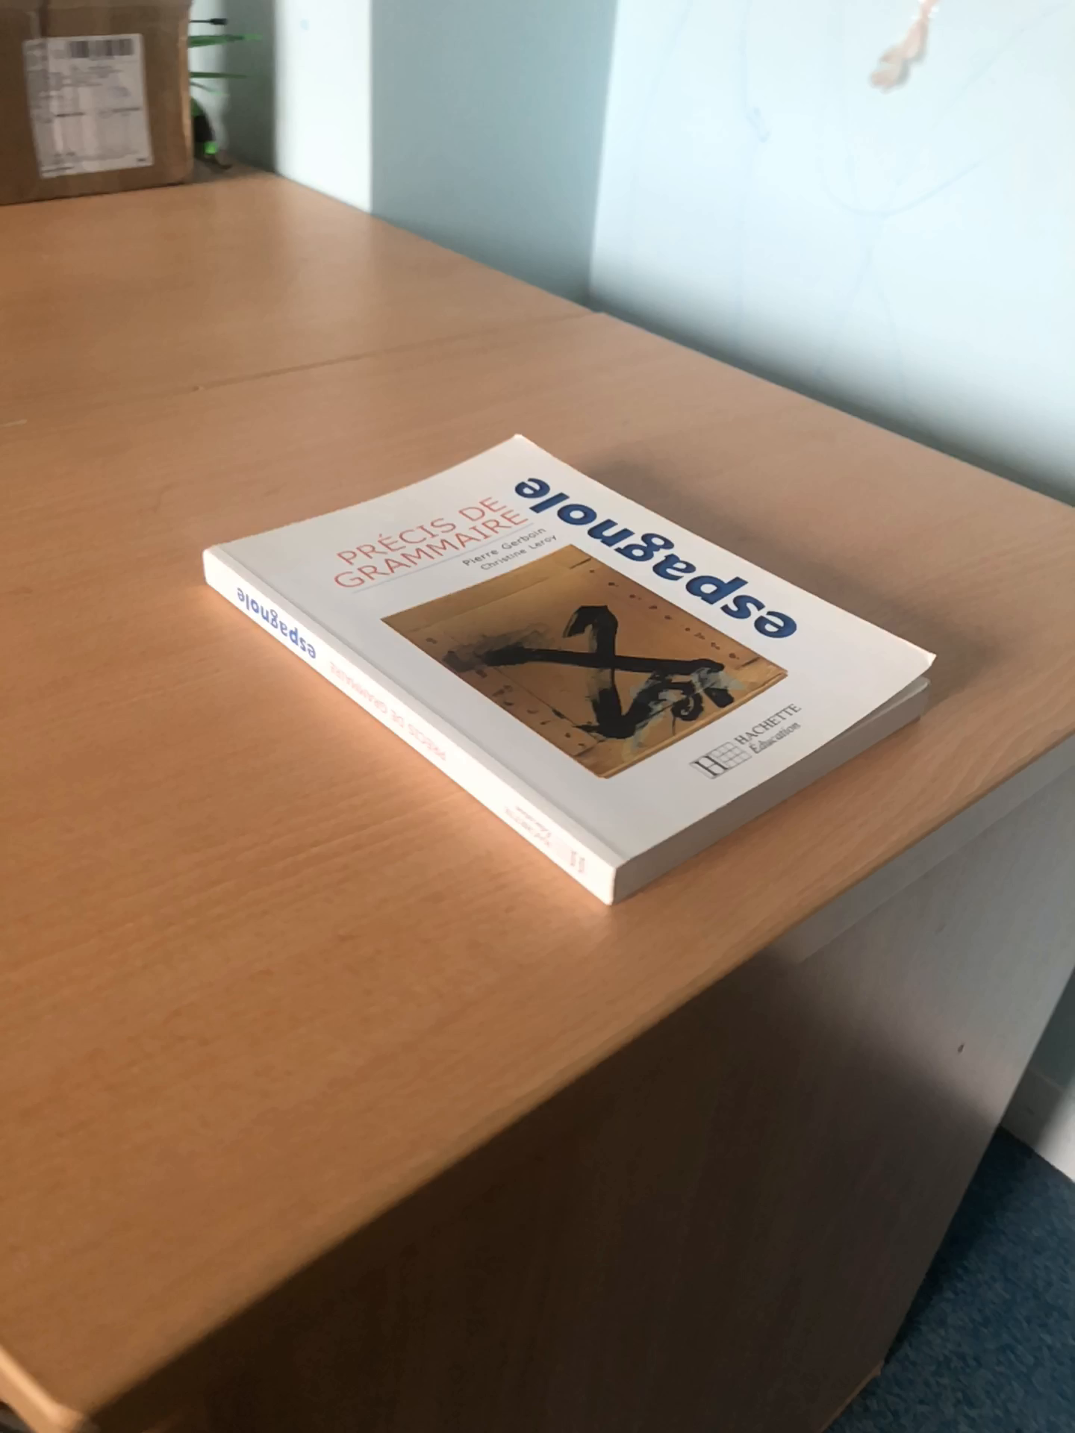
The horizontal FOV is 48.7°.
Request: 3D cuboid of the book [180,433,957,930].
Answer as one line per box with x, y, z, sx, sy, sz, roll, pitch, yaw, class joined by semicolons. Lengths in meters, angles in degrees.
0.006;-0.037;0.457;0.181;0.020;0.240;-27;46;-34;book
